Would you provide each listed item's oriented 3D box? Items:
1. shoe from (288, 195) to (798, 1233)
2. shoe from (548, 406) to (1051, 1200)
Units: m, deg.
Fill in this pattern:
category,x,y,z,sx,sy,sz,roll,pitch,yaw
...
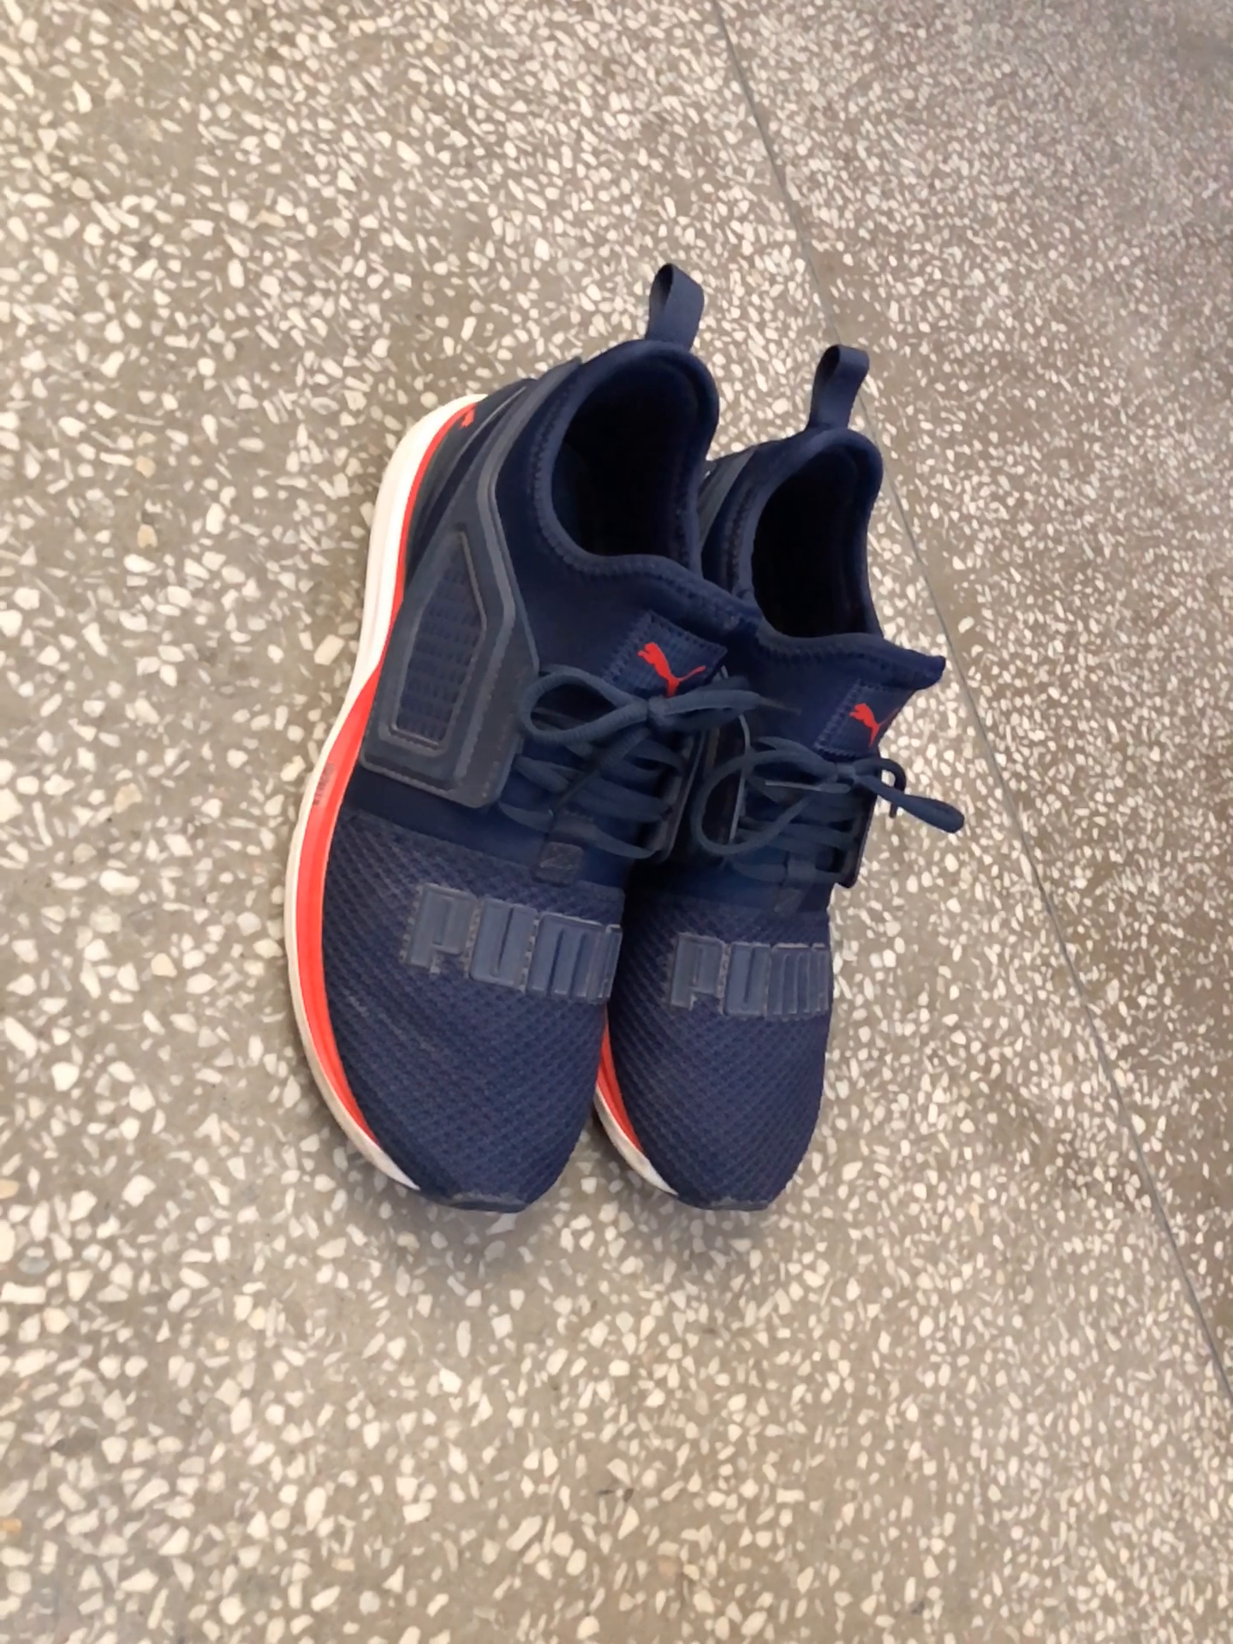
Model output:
category,x,y,z,sx,sy,sz,roll,pitch,yaw
shoe,-0.026,-0.022,0.404,0.100,0.100,0.270,8,72,-35
shoe,0.051,0.005,0.457,0.100,0.120,0.230,6,73,-29
